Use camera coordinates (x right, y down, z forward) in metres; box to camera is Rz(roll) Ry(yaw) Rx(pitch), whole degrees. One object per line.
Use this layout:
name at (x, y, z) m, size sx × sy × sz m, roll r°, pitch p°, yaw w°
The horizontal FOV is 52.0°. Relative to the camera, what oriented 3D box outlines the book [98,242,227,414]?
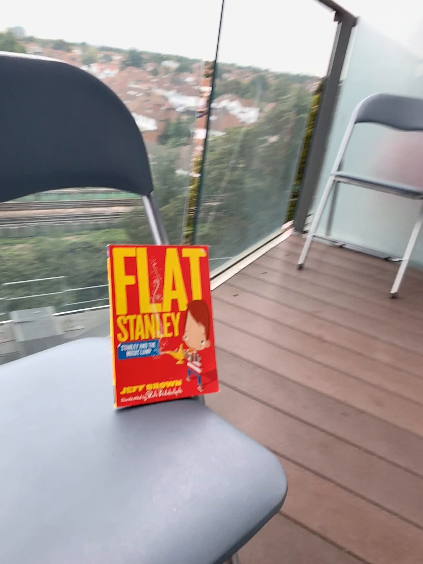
book at (-0.058, 0.048, 0.519) m, size 0.140 × 0.190 × 0.020 m, roll -2°, pitch -7°, yaw -21°
